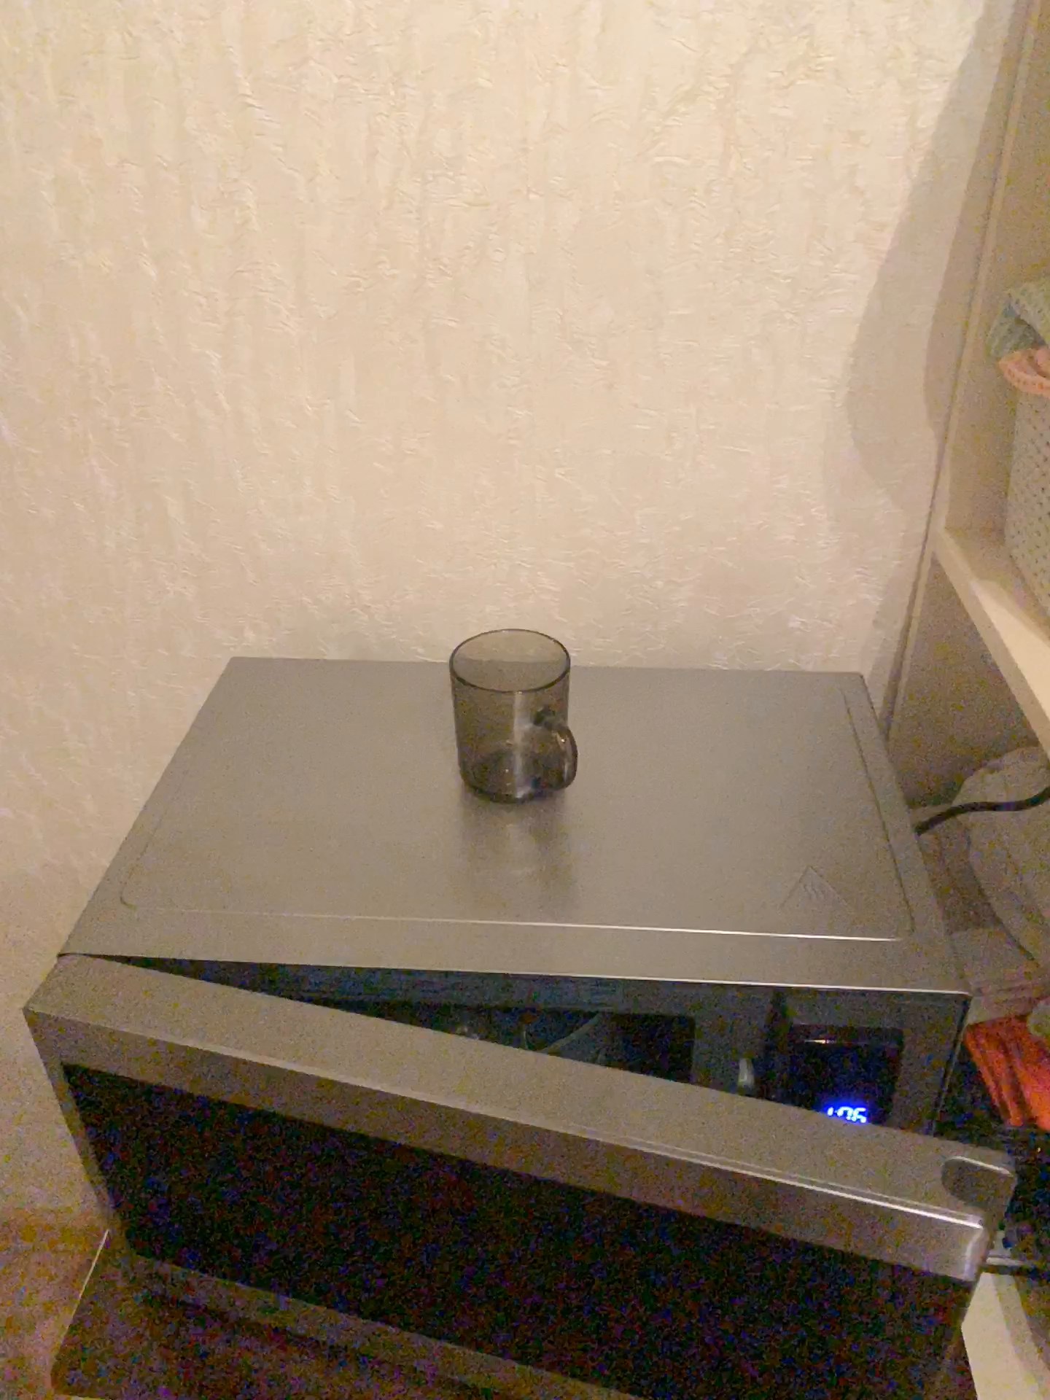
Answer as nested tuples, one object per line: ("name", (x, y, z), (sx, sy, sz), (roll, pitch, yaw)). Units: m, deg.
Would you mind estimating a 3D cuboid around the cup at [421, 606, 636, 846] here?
("cup", (0.000, 0.012, 0.640), (0.080, 0.079, 0.111), (-18, 36, -24))
